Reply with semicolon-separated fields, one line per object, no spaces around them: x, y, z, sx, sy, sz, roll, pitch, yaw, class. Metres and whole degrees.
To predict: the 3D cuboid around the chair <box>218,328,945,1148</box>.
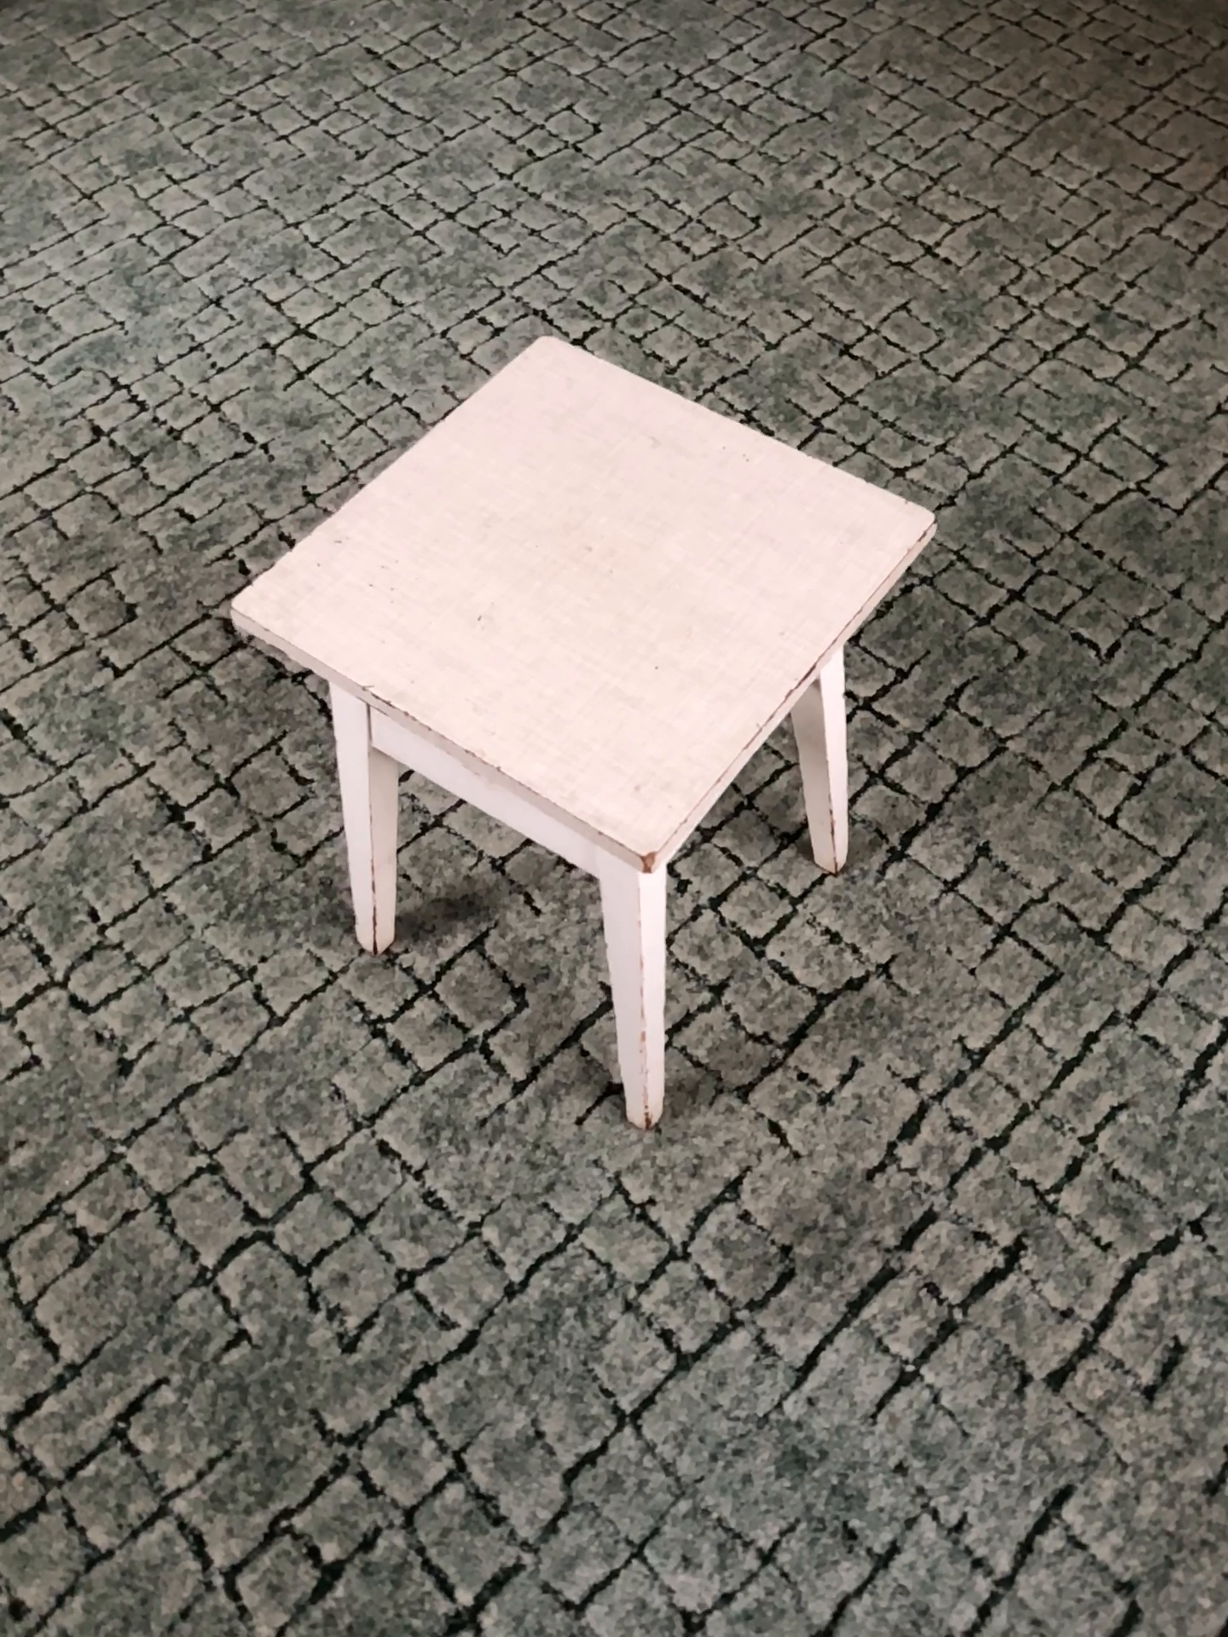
-0.010;-0.045;1.049;0.335;0.447;0.333;31;63;20;chair
